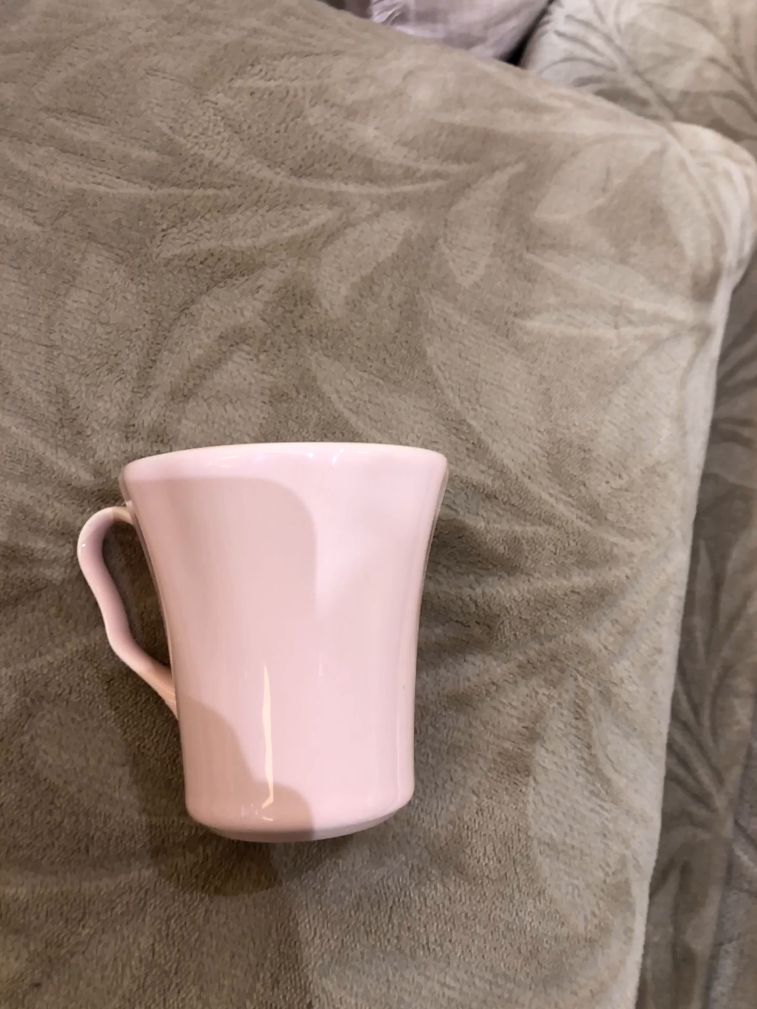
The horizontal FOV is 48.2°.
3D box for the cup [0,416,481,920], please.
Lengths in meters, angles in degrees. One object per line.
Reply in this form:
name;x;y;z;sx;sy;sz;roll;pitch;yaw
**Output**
cup;-0.037;0.037;0.203;0.100;0.070;0.090;-7;82;21
